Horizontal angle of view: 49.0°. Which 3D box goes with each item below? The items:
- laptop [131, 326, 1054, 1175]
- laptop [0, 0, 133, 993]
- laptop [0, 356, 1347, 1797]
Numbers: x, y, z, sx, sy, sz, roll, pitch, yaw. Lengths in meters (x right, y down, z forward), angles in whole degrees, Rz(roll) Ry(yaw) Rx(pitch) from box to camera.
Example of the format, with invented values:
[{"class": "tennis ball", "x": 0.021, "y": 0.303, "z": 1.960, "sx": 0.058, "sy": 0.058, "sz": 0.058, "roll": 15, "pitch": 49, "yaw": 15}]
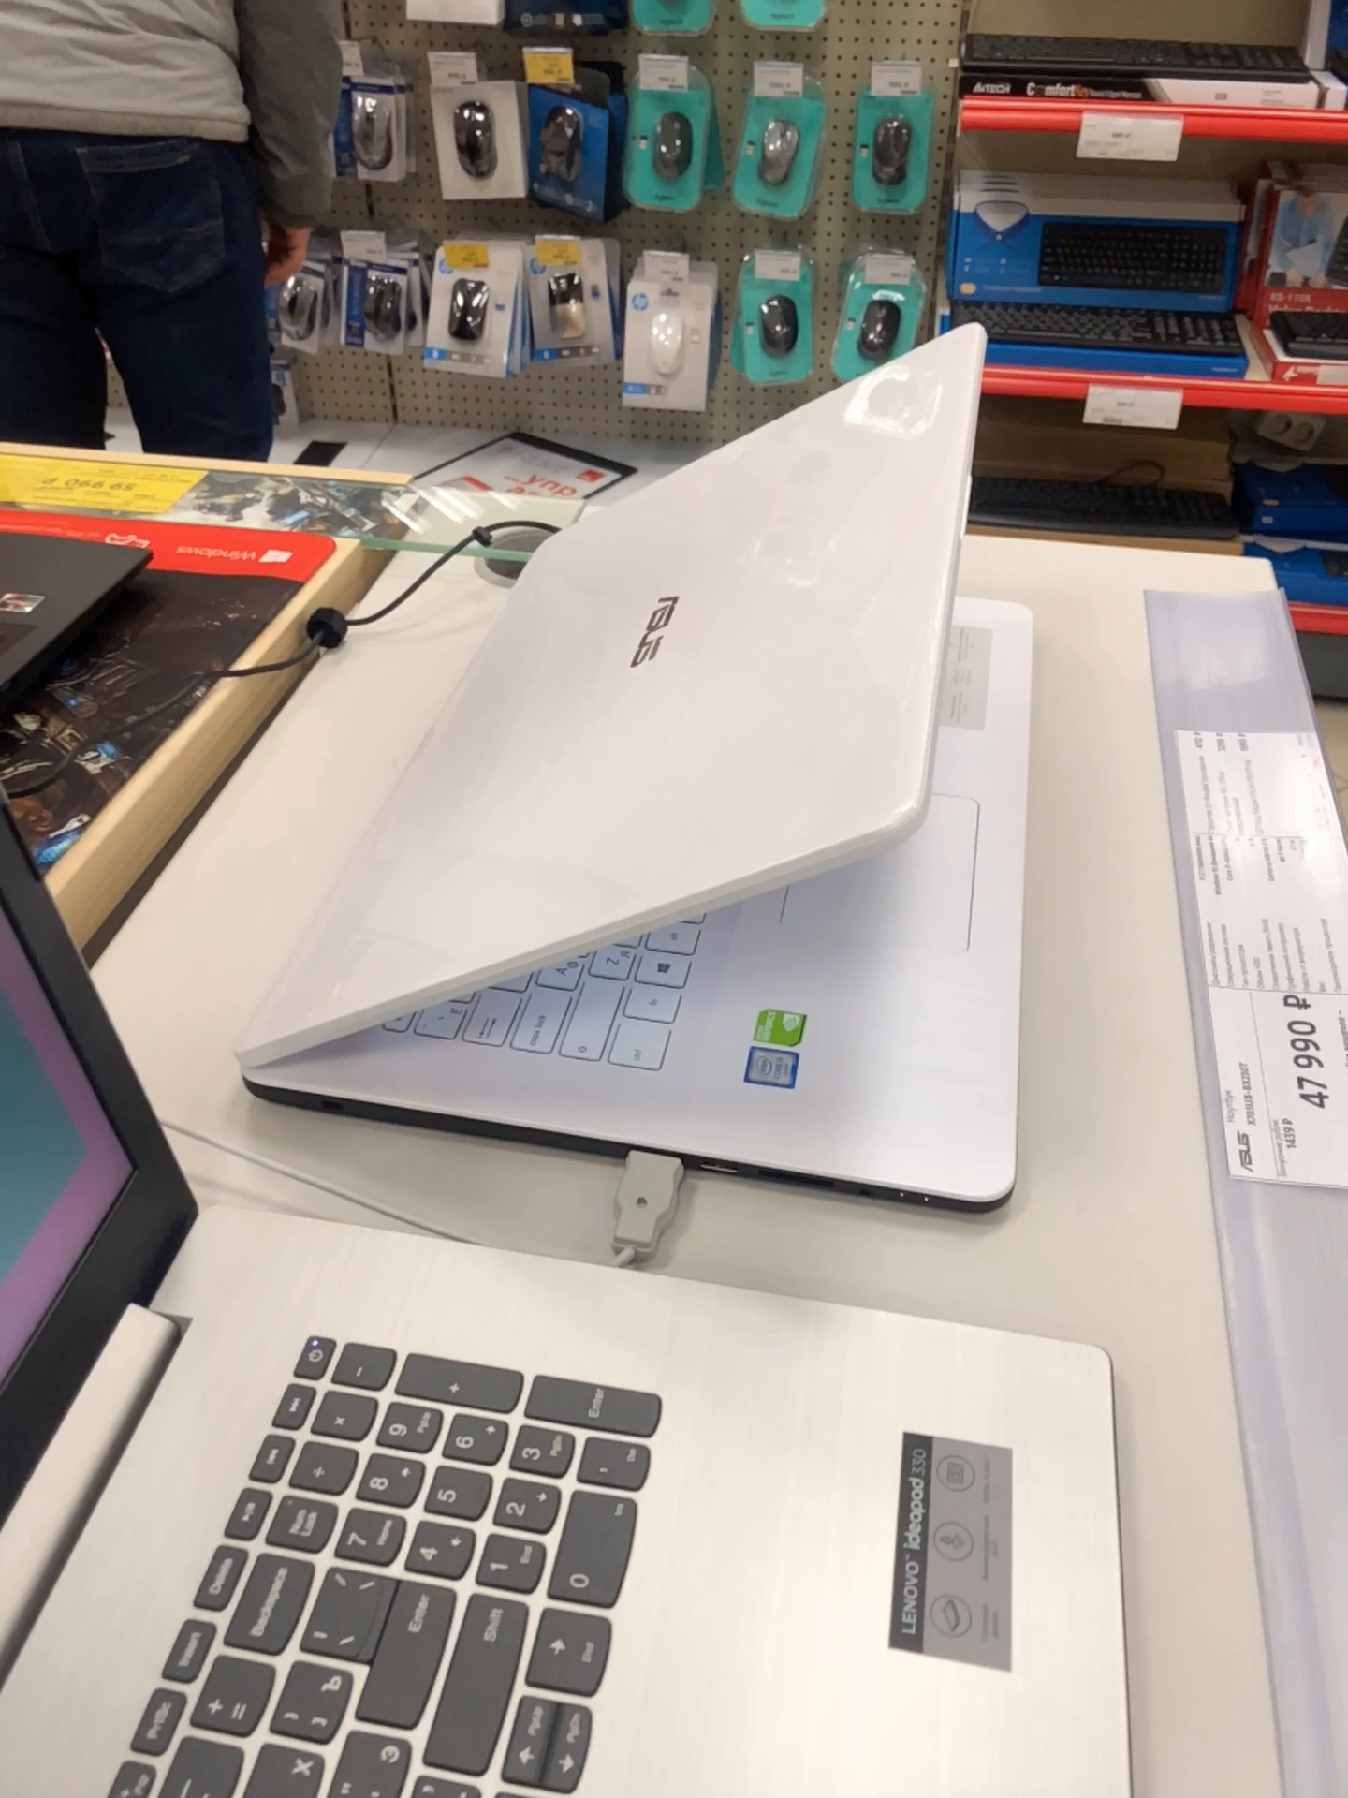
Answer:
[{"class": "laptop", "x": -0.001, "y": -0.098, "z": 0.602, "sx": 0.256, "sy": 0.142, "sz": 0.393, "roll": 5, "pitch": 37, "yaw": 6}, {"class": "laptop", "x": -0.537, "y": -0.190, "z": 0.590, "sx": 0.377, "sy": 0.220, "sz": 0.367, "roll": 12, "pitch": 40, "yaw": 10}, {"class": "laptop", "x": -0.087, "y": 0.131, "z": 0.183, "sx": 0.336, "sy": 0.262, "sz": 0.394, "roll": 5, "pitch": 38, "yaw": 6}]
